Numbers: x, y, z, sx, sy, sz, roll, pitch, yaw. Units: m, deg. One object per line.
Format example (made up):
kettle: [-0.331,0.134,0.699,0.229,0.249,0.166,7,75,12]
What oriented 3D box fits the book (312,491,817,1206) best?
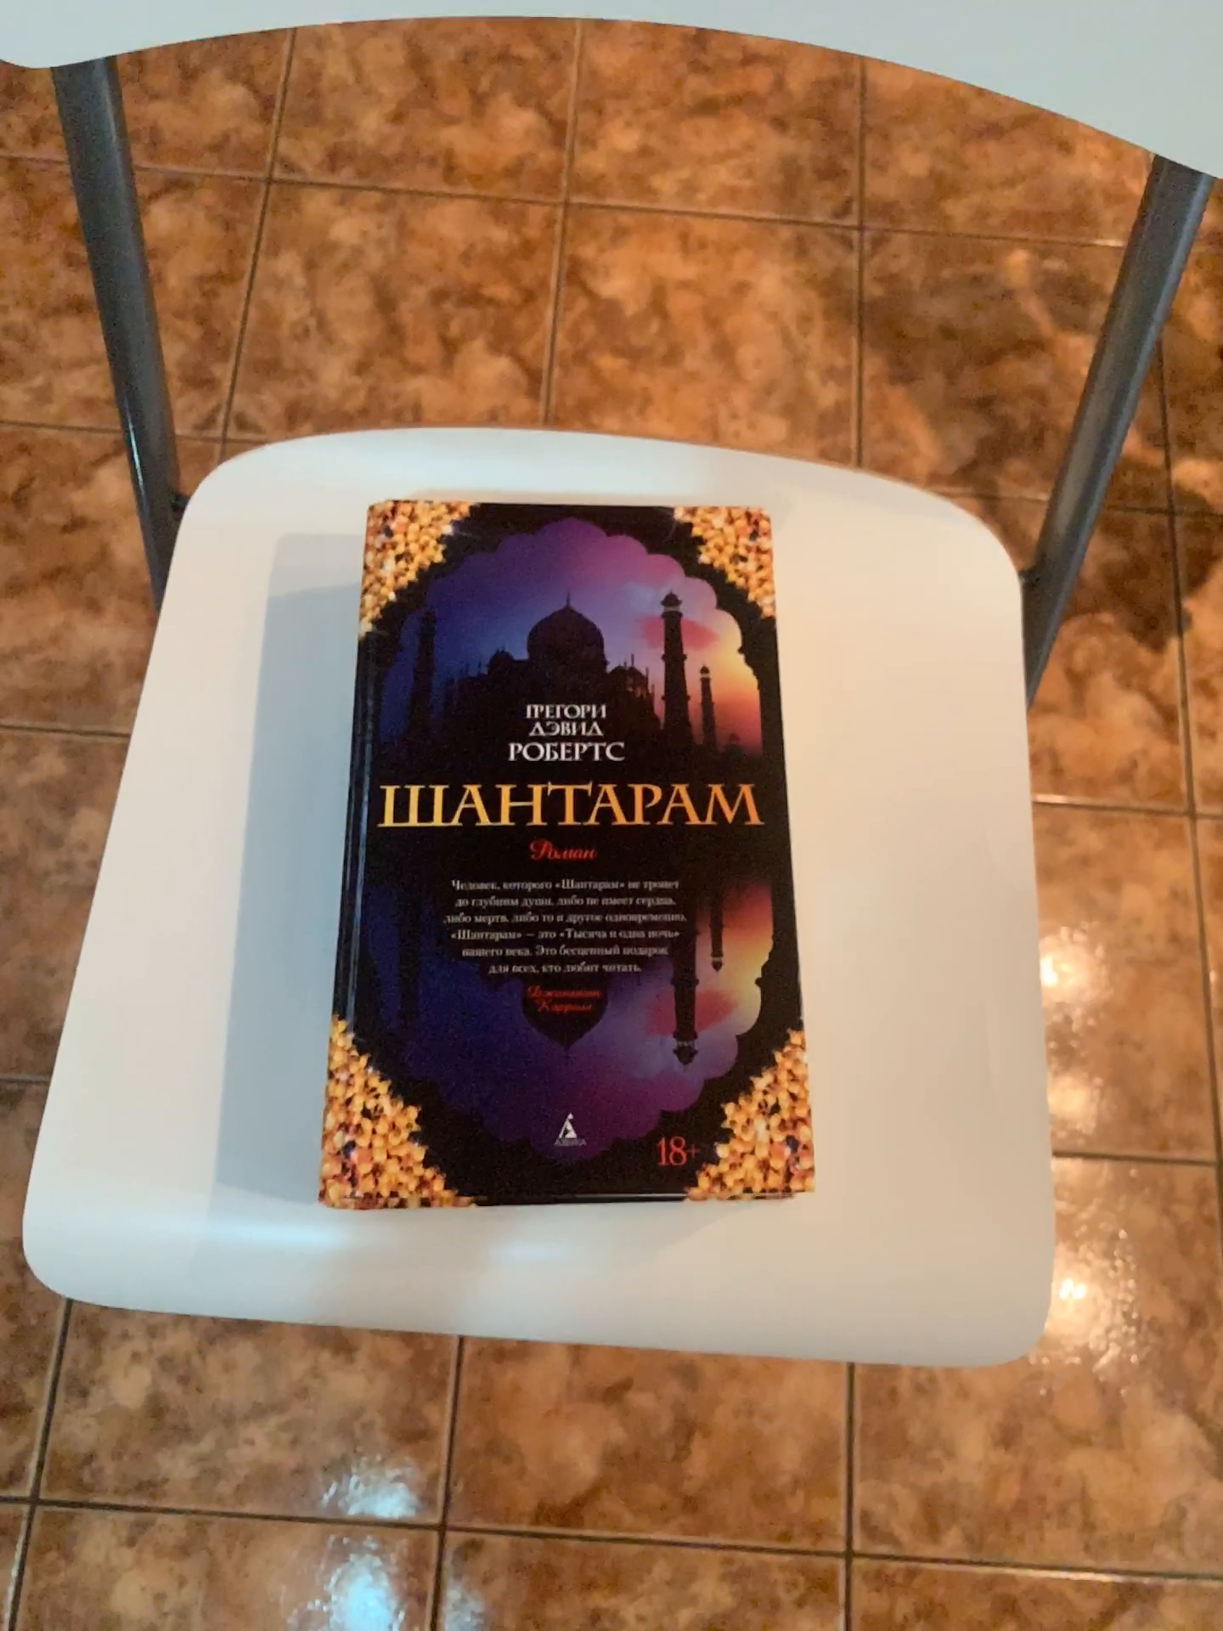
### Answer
book: [-0.015,0.005,0.422,0.145,0.044,0.237,0,71,-1]
